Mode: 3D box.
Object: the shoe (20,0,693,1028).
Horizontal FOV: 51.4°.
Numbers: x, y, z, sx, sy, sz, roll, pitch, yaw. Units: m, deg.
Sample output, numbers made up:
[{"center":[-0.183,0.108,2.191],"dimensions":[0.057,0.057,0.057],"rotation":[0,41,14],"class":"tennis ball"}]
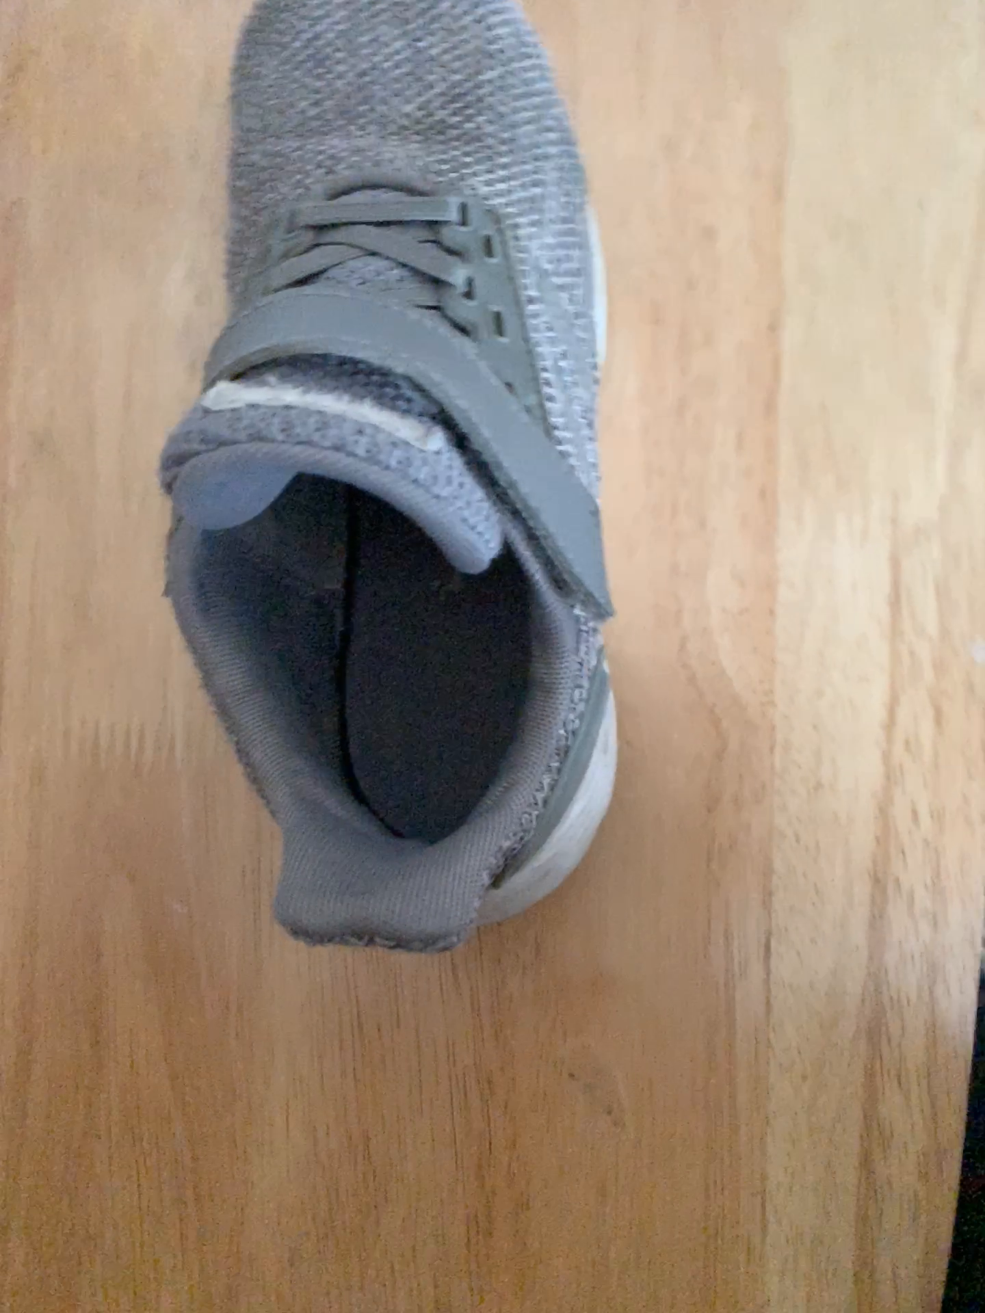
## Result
[{"center":[-0.022,-0.056,0.196],"dimensions":[0.090,0.080,0.220],"rotation":[-4,85,3],"class":"shoe"}]
